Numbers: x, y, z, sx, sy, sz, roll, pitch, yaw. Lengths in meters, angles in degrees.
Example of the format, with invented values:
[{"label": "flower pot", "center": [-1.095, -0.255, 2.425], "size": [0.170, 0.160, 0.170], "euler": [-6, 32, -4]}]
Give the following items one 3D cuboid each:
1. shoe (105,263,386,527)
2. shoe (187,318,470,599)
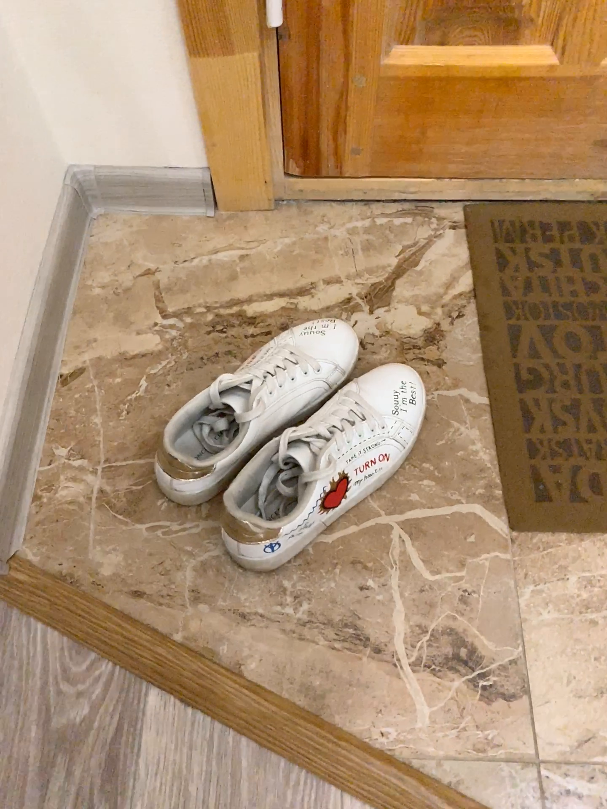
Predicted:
[{"label": "shoe", "center": [-0.046, -0.013, 0.596], "size": [0.256, 0.080, 0.092], "euler": [-41, 69, -18]}, {"label": "shoe", "center": [0.028, 0.045, 0.574], "size": [0.256, 0.080, 0.092], "euler": [-42, 69, -18]}]
